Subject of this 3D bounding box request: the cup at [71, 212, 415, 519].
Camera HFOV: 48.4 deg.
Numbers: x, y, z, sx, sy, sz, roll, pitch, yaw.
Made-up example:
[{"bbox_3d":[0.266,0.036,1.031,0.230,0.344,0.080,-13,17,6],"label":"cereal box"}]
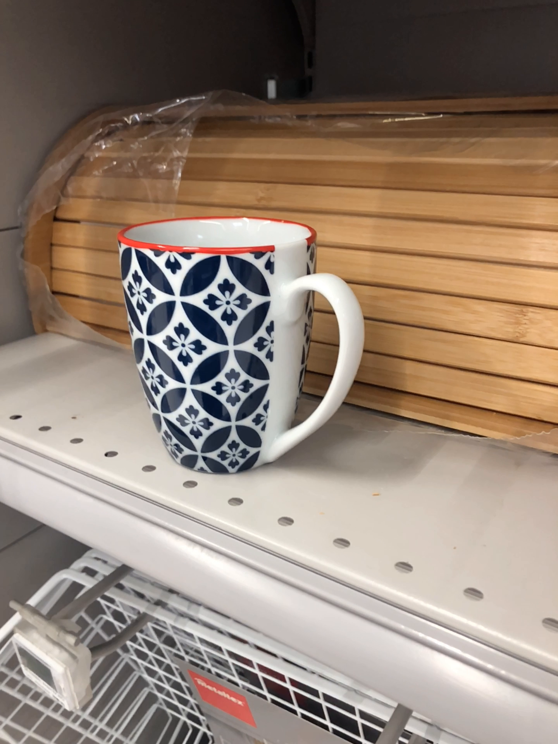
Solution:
[{"bbox_3d":[-0.014,-0.014,0.265,0.113,0.090,0.080,14,26,32],"label":"cup"}]
